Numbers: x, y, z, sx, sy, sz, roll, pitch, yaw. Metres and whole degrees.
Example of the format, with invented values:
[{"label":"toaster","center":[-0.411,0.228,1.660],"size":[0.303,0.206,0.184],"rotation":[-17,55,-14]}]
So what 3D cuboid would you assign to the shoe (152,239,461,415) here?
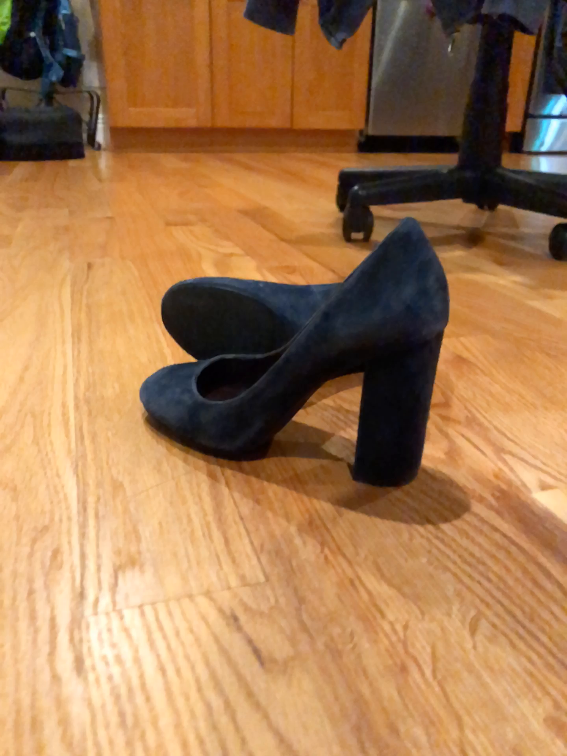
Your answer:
[{"label":"shoe","center":[0.023,-0.050,0.495],"size":[0.204,0.080,0.153],"rotation":[5,24,8]}]

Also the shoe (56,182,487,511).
[{"label":"shoe","center":[-0.010,-0.031,0.376],"size":[0.226,0.146,0.081],"rotation":[11,25,20]}]
